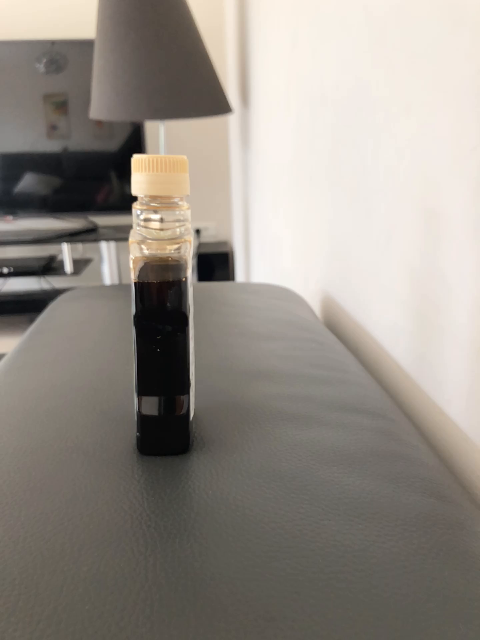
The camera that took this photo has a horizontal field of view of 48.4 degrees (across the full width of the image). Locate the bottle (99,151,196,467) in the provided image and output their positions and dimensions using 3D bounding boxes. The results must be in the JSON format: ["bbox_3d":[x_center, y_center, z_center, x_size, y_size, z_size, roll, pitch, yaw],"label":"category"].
[{"bbox_3d":[-0.046,-0.010,0.295,0.040,0.159,0.070,-1,17,-5],"label":"bottle"}]
